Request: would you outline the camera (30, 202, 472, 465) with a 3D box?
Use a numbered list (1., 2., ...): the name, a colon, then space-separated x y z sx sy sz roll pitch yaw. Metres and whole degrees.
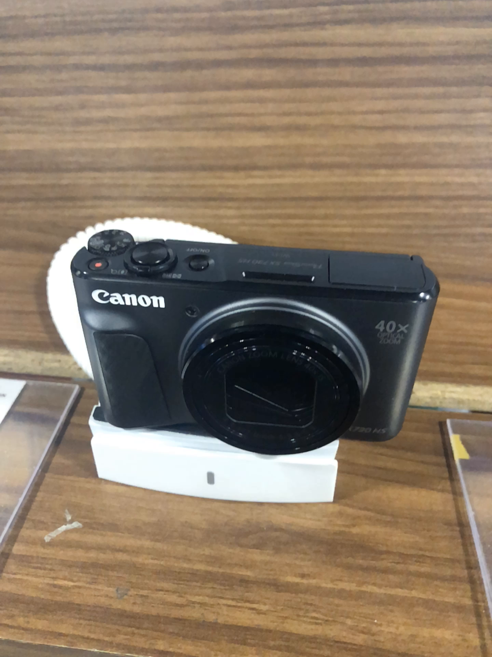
1. camera: 0.001 0.002 0.170 0.109 0.063 0.037 5 39 5
